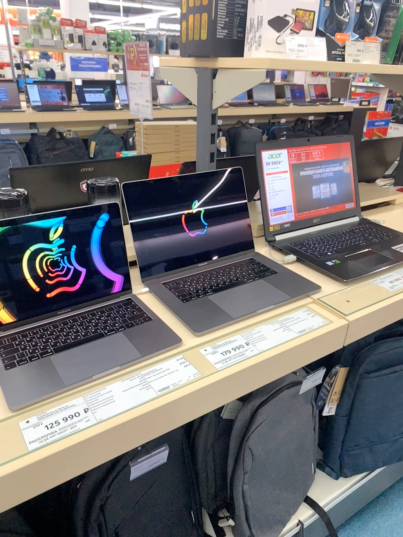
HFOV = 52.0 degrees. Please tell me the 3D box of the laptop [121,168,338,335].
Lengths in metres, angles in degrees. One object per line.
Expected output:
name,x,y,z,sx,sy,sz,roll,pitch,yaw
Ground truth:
laptop,0.049,-0.072,0.945,0.345,0.210,0.325,-15,31,-31
